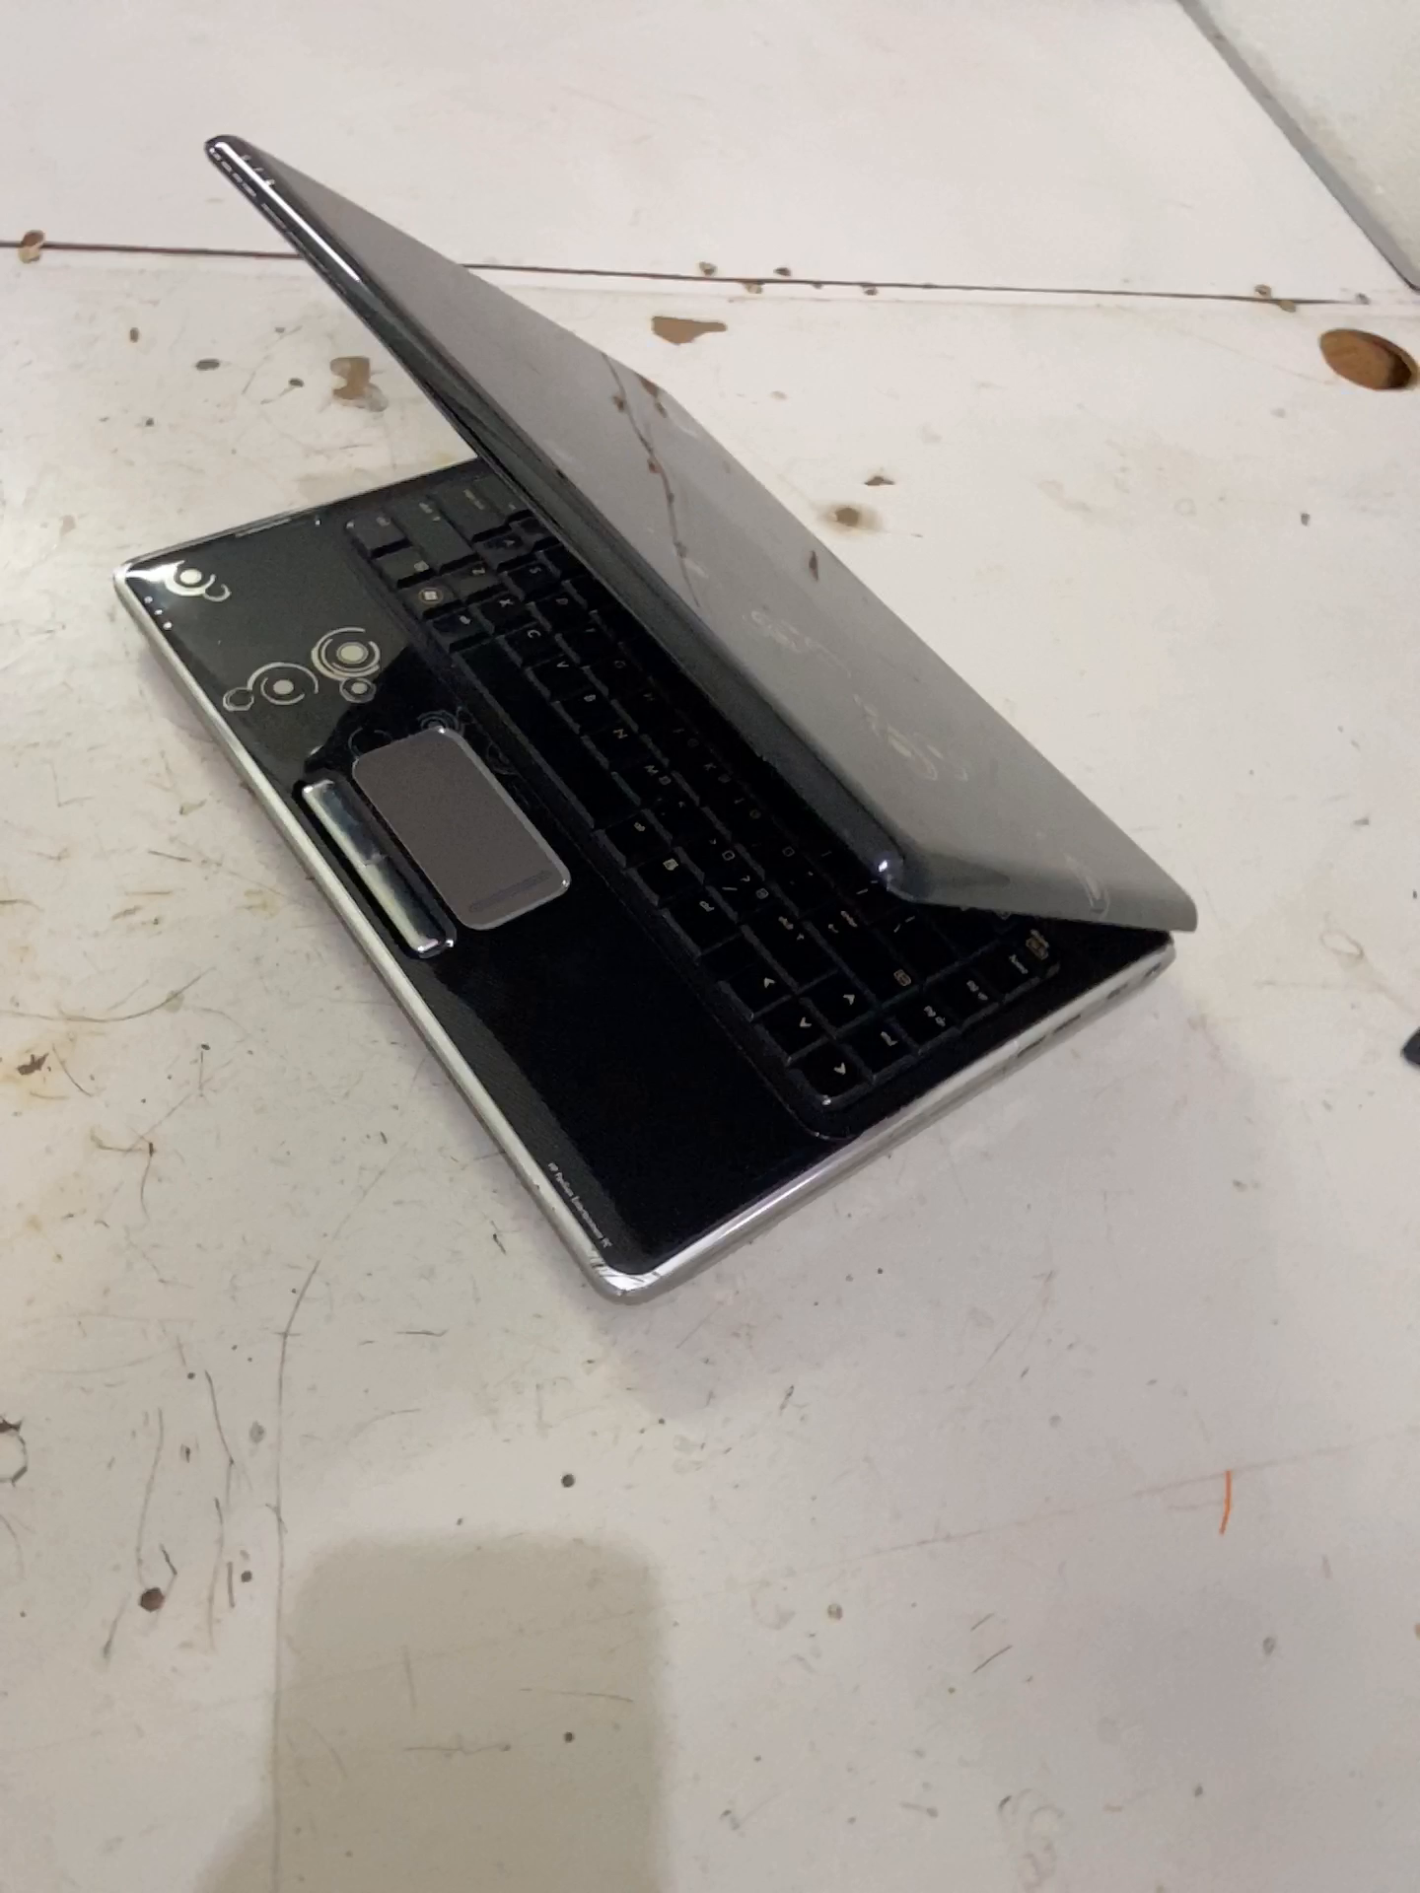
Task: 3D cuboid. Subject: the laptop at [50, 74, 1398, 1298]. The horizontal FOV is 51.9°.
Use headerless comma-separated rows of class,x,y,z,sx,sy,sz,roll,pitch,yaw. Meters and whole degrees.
laptop,-0.015,-0.108,0.461,0.231,0.137,0.328,-27,63,-25
